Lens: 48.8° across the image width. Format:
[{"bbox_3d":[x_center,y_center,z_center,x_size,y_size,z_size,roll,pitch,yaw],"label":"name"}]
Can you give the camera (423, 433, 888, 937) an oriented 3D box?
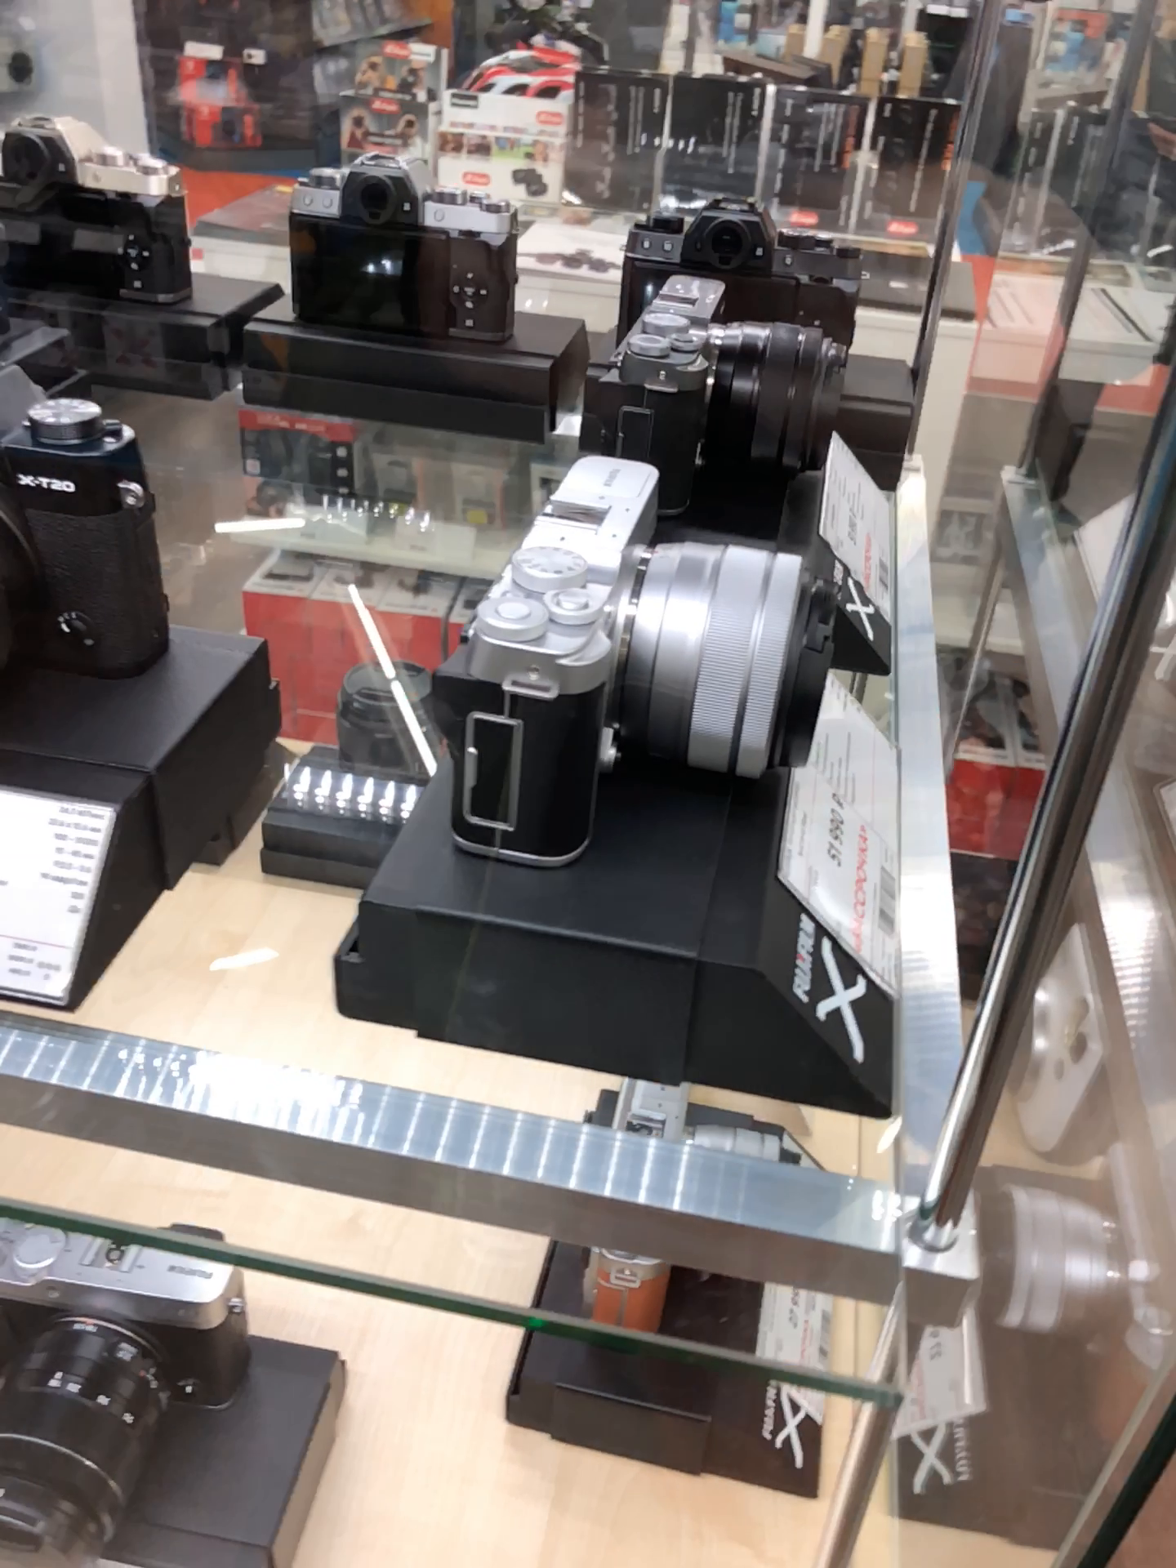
[{"bbox_3d":[0.024,-0.035,0.351,0.100,0.066,0.134,10,34,7],"label":"camera"}]
